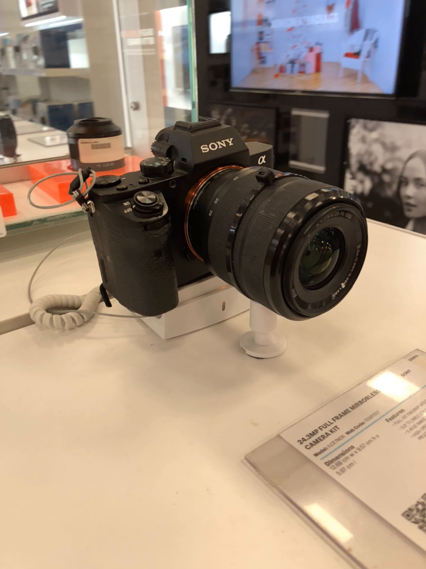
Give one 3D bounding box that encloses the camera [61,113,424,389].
[{"bbox_3d":[0.013,-0.041,0.290,0.140,0.100,0.150,-21,31,-35],"label":"camera"}]
